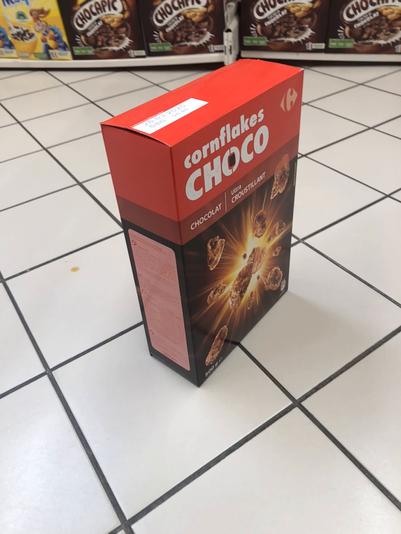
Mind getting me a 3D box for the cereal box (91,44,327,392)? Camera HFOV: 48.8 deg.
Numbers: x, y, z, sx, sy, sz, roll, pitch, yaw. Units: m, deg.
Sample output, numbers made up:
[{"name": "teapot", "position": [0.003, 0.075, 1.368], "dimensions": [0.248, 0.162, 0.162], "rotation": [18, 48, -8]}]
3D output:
[{"name": "cereal box", "position": [0.026, -0.047, 0.450], "dimensions": [0.090, 0.278, 0.201], "rotation": [25, 48, 31]}]
